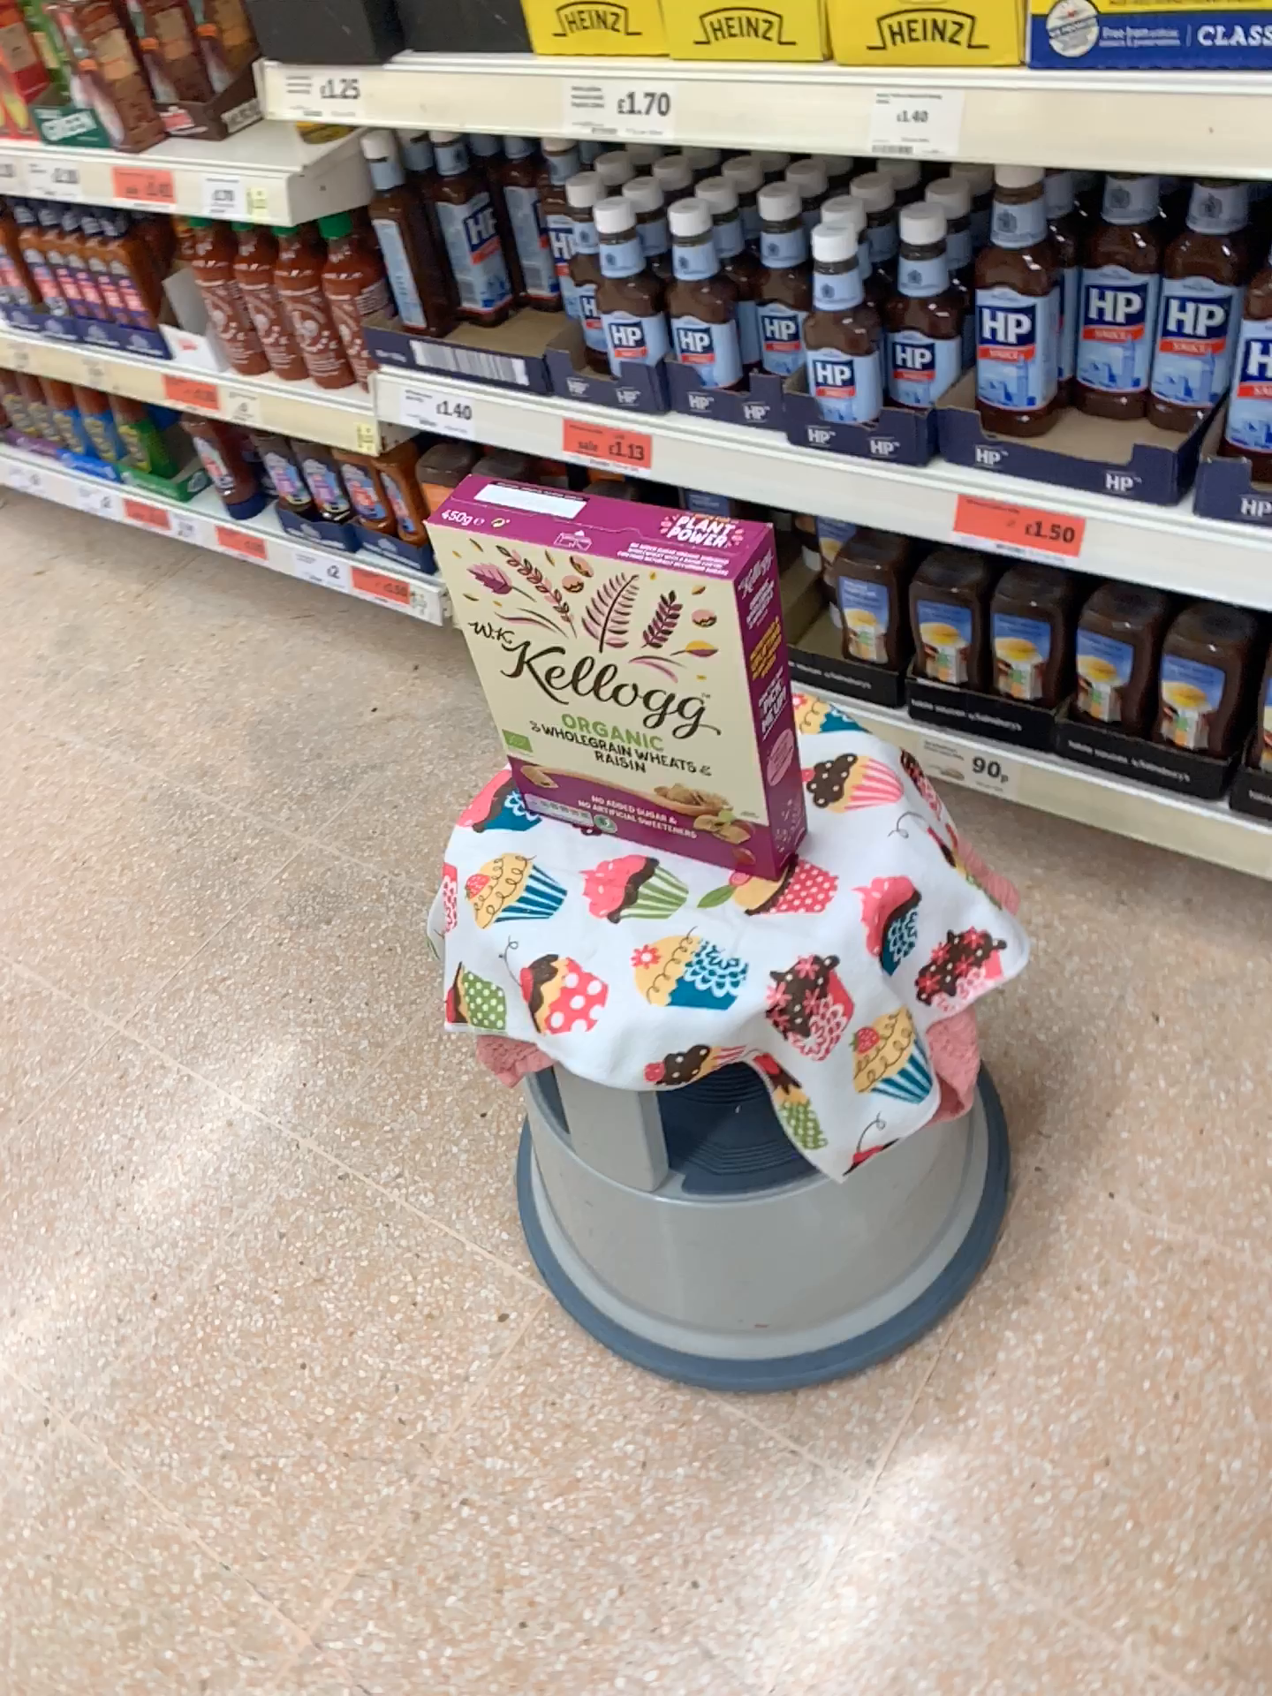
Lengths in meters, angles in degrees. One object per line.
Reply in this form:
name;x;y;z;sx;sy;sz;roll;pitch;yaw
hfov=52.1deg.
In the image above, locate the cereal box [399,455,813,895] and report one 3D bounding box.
cereal box;-0.009;-0.097;0.769;0.201;0.248;0.050;17;54;28
